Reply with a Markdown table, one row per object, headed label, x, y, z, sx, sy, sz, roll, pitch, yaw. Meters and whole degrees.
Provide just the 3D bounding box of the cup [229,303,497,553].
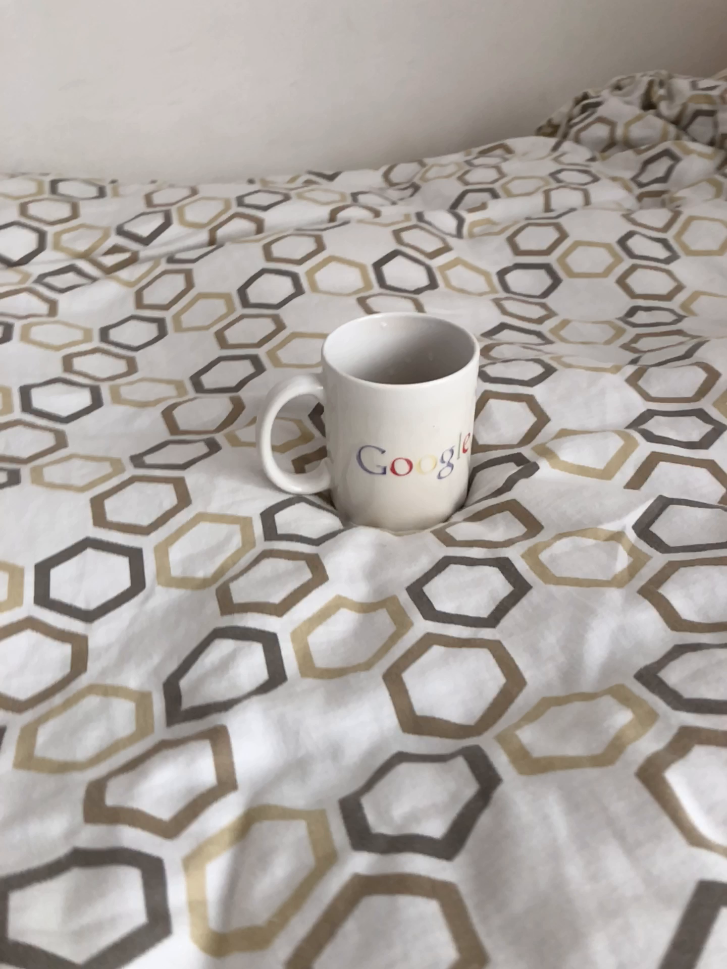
| label | x | y | z | sx | sy | sz | roll | pitch | yaw |
| --- | --- | --- | --- | --- | --- | --- | --- | --- | --- |
| cup | -0.003 | -0.032 | 0.432 | 0.126 | 0.087 | 0.087 | -7 | 37 | -4 |
